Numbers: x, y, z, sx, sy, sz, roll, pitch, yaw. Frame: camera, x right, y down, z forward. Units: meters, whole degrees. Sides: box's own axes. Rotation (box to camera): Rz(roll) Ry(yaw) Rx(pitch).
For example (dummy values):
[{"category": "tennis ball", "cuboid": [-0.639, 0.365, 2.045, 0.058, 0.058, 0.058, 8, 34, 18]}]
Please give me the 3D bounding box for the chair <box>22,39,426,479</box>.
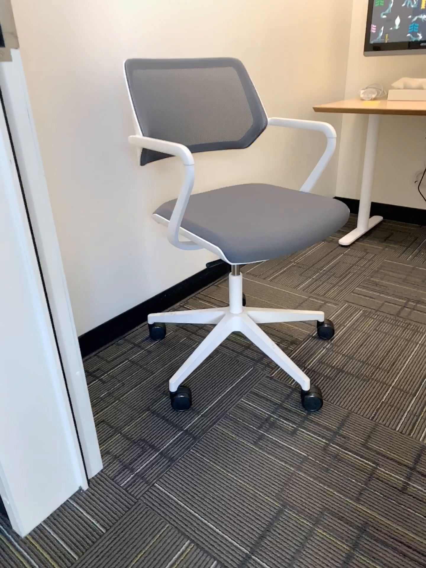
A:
[{"category": "chair", "cuboid": [0.083, -0.202, 1.338, 0.803, 0.914, 0.801, 22, 35, 39]}]
